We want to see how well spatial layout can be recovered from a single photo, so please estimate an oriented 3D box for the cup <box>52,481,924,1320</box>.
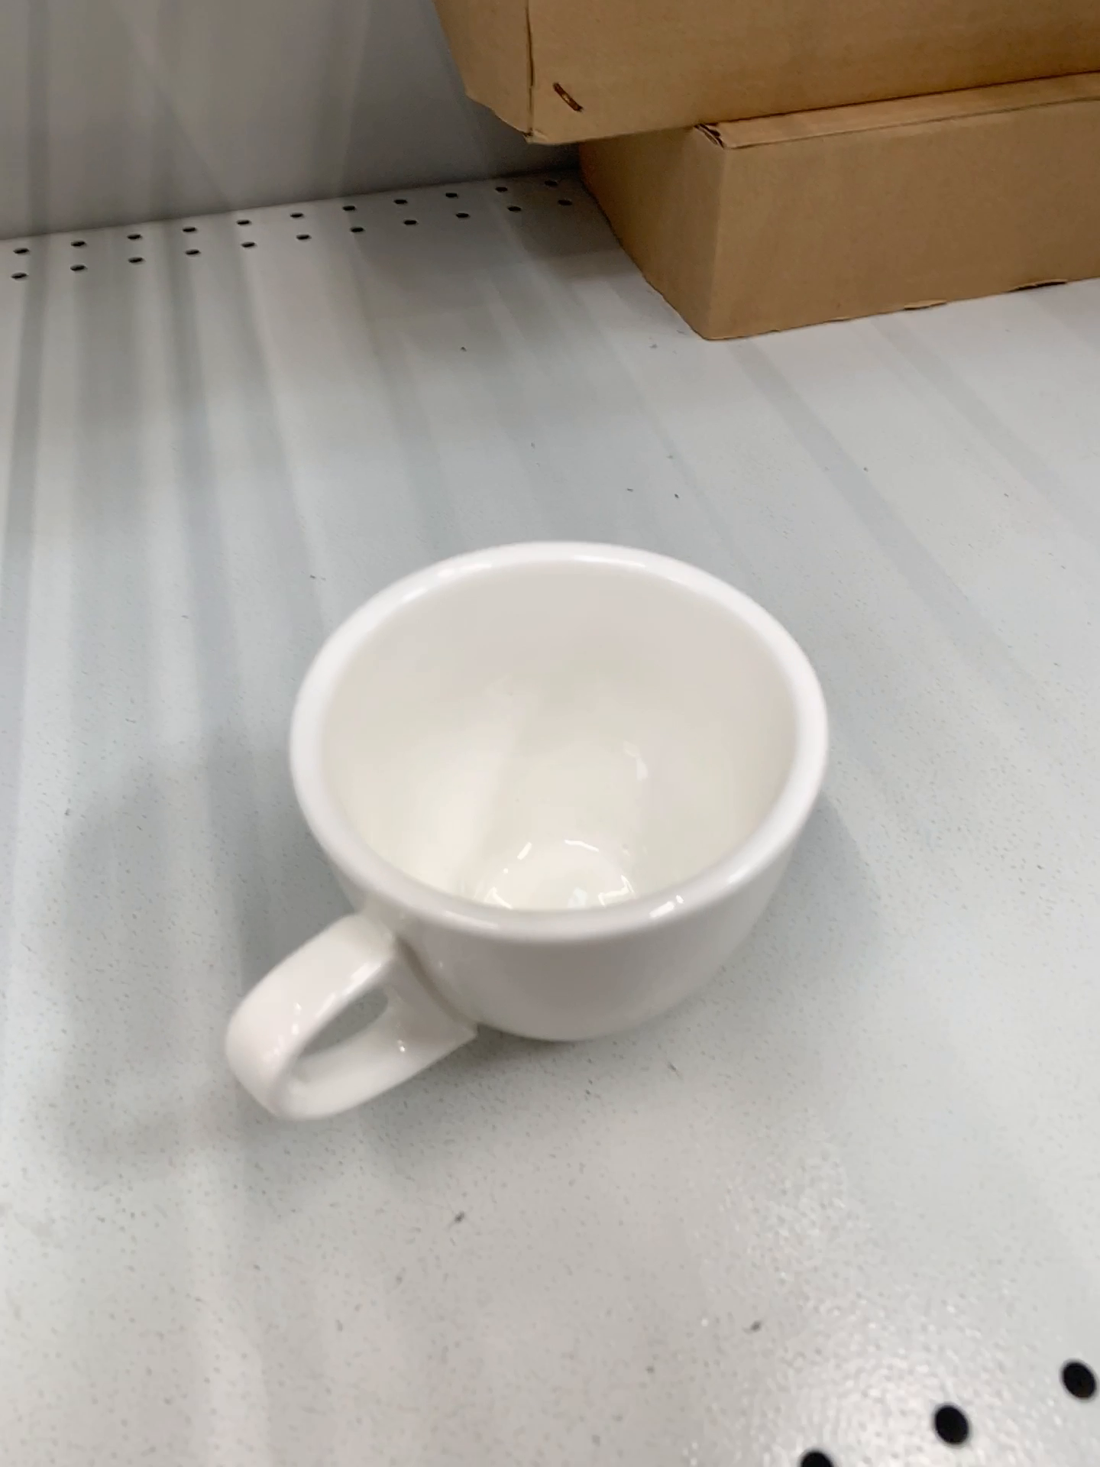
[{"bbox_3d":[-0.009,0.024,0.233,0.128,0.072,0.096,-34,55,-27],"label":"cup"}]
